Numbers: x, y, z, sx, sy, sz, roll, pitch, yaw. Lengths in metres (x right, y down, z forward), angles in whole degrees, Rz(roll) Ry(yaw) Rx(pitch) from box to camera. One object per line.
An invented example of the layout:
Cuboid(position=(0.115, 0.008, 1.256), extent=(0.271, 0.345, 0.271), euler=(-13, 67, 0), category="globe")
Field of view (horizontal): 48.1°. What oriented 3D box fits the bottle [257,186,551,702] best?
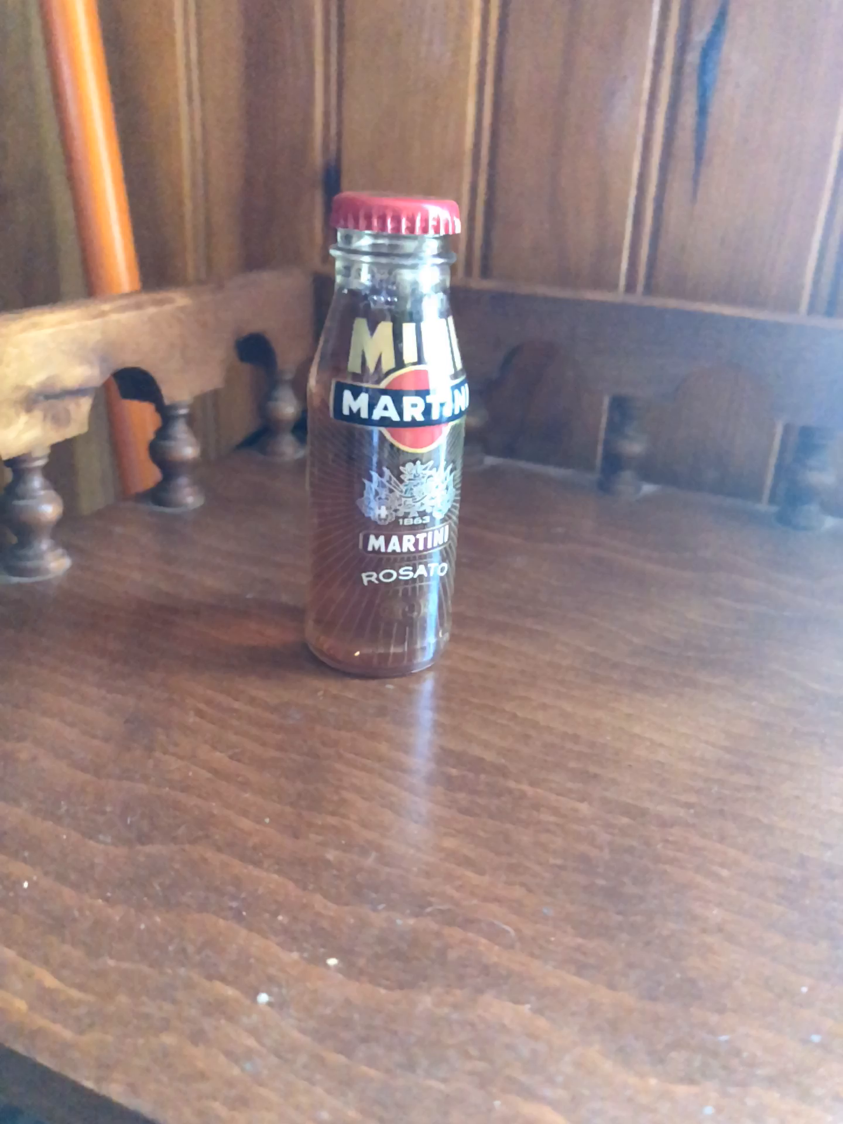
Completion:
Cuboid(position=(-0.009, -0.030, 0.229), extent=(0.050, 0.109, 0.050), euler=(3, 24, -1), category="bottle")
